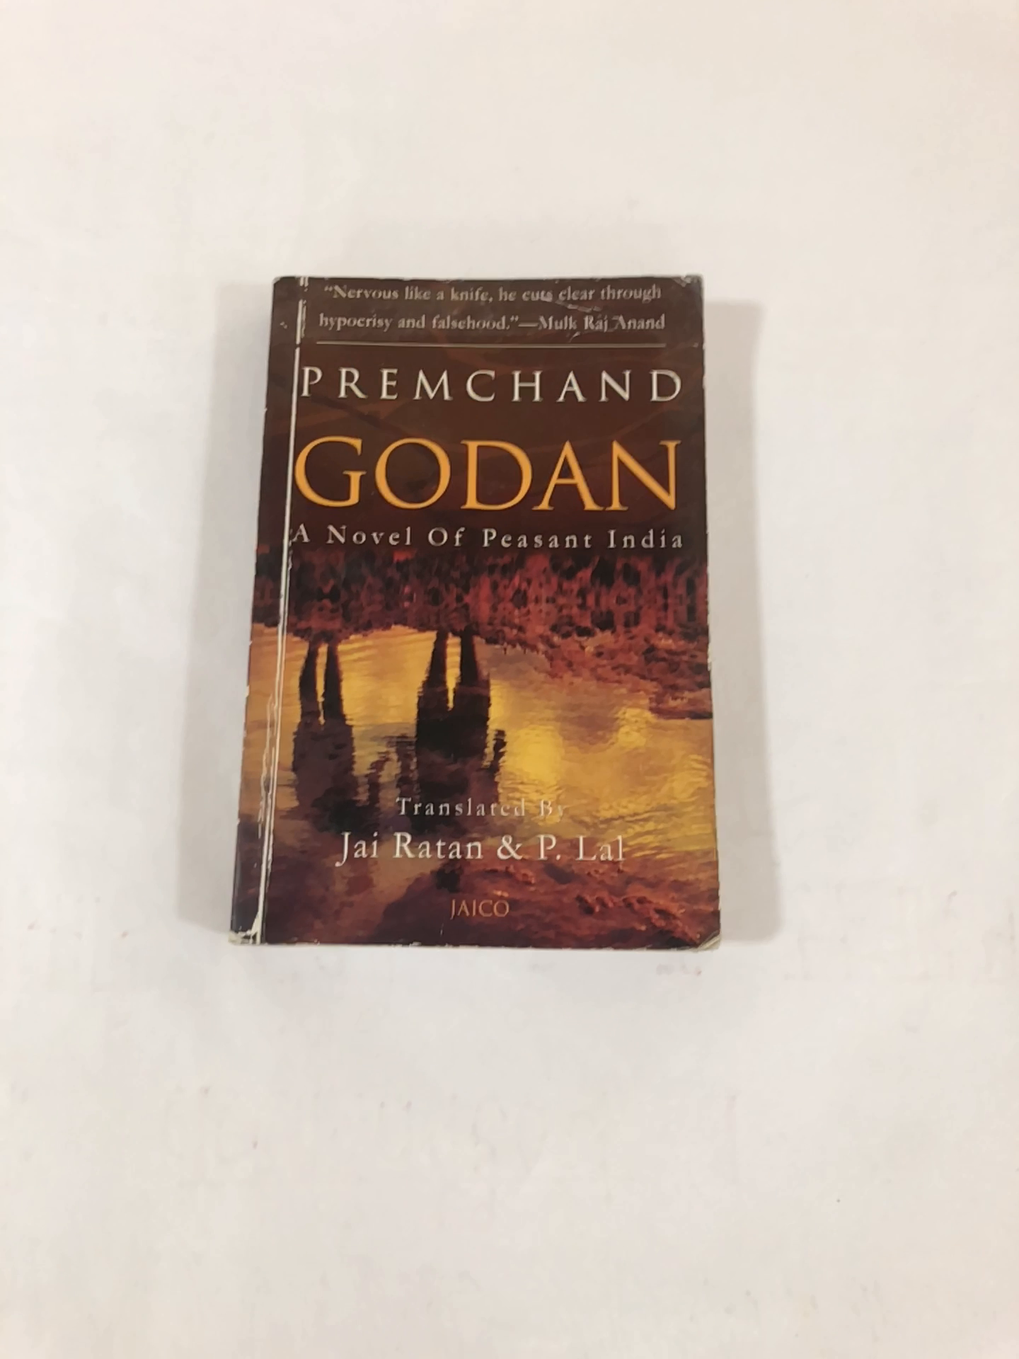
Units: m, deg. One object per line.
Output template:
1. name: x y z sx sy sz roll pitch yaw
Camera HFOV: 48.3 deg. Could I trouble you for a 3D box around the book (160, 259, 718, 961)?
1. book: -0.017 -0.024 0.345 0.150 0.030 0.210 1 76 0
